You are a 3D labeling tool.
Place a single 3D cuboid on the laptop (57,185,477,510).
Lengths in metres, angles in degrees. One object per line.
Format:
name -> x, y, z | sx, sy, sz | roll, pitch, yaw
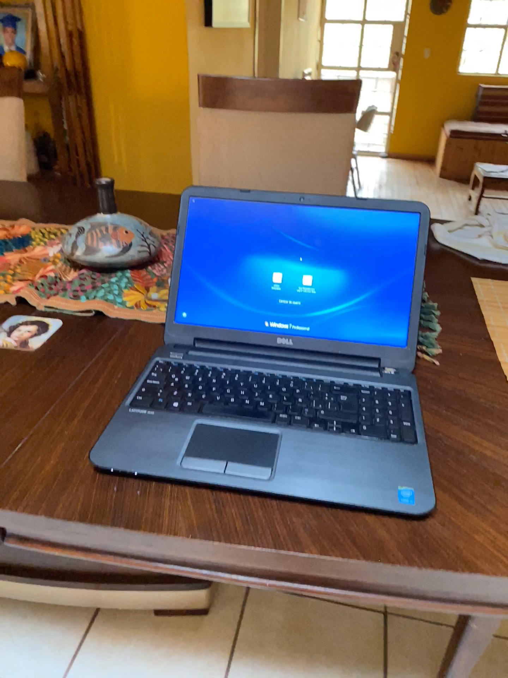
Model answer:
laptop -> 0.032, -0.034, 0.666 | 0.367, 0.194, 0.397 | 6, 31, 7
